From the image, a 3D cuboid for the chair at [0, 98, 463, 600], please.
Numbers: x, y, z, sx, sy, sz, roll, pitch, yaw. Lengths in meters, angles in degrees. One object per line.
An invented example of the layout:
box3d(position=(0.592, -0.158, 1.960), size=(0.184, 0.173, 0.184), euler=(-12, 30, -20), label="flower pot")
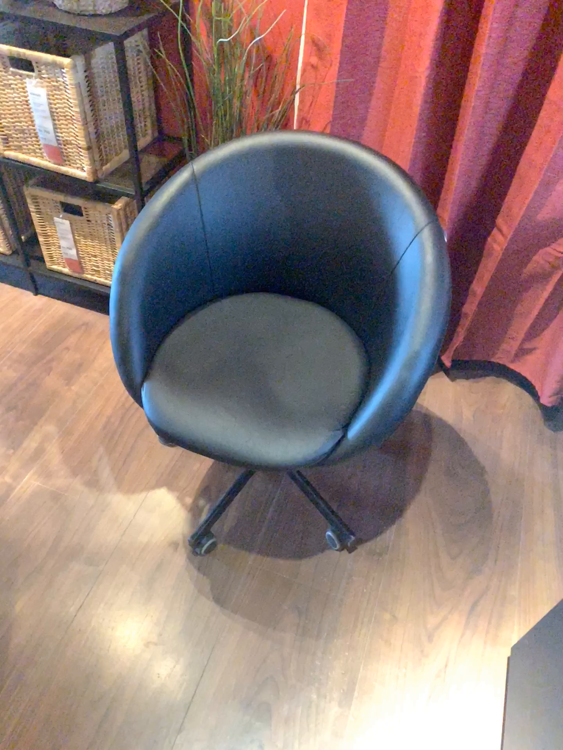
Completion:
box3d(position=(-0.054, -0.038, 1.153), size=(0.620, 0.698, 0.582), euler=(12, 48, 6), label="chair")
